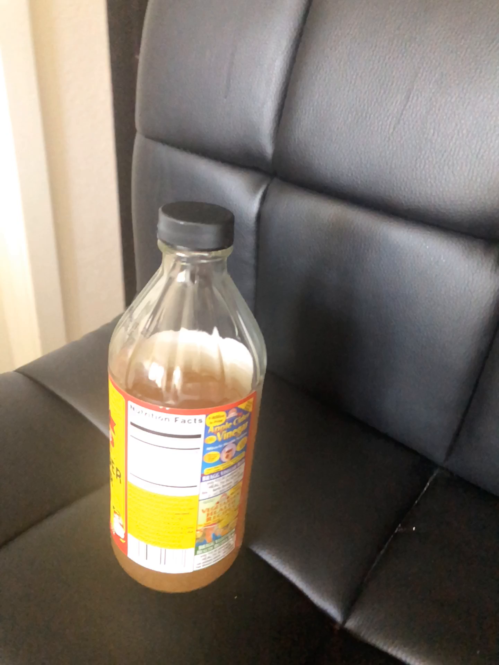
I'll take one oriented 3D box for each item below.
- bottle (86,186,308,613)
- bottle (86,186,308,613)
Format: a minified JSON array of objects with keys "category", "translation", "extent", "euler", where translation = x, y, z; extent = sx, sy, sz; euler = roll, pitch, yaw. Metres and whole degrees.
[{"category":"bottle","translation":[-0.027,0.034,0.260],"extent":[0.070,0.179,0.070],"euler":[7,28,-4]},{"category":"bottle","translation":[-0.027,0.034,0.260],"extent":[0.070,0.179,0.070],"euler":[7,28,-4]}]
